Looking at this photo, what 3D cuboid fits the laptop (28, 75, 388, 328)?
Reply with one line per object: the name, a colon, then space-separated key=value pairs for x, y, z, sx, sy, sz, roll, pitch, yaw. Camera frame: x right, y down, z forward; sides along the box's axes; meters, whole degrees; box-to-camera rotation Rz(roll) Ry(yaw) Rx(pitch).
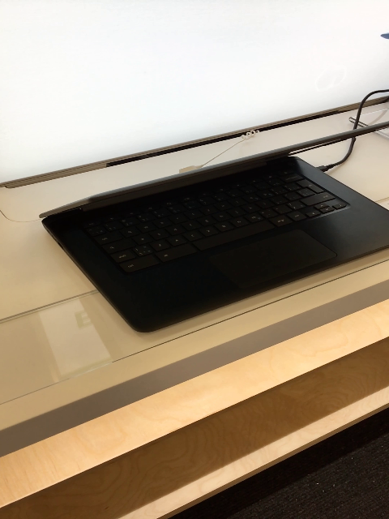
laptop: x=0.047 y=-0.080 z=0.549 sx=0.342 sy=0.121 sz=0.203 roll=-20 pitch=48 yaw=-21
